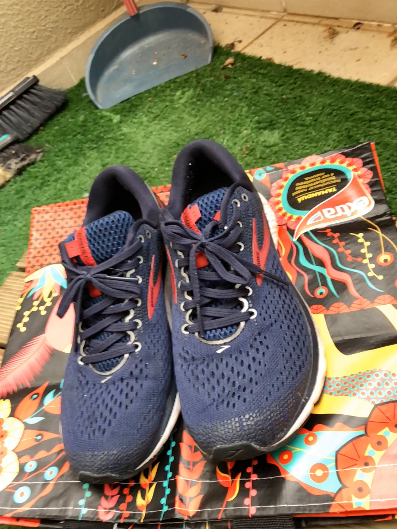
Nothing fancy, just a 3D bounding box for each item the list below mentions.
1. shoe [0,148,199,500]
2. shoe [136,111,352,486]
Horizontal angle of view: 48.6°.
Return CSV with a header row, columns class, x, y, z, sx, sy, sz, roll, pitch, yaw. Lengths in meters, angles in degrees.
class,x,y,z,sx,sy,sz,roll,pitch,yaw
shoe,-0.070,0.036,0.373,0.107,0.099,0.266,-15,47,16
shoe,0.026,0.009,0.343,0.100,0.099,0.266,-17,47,15
